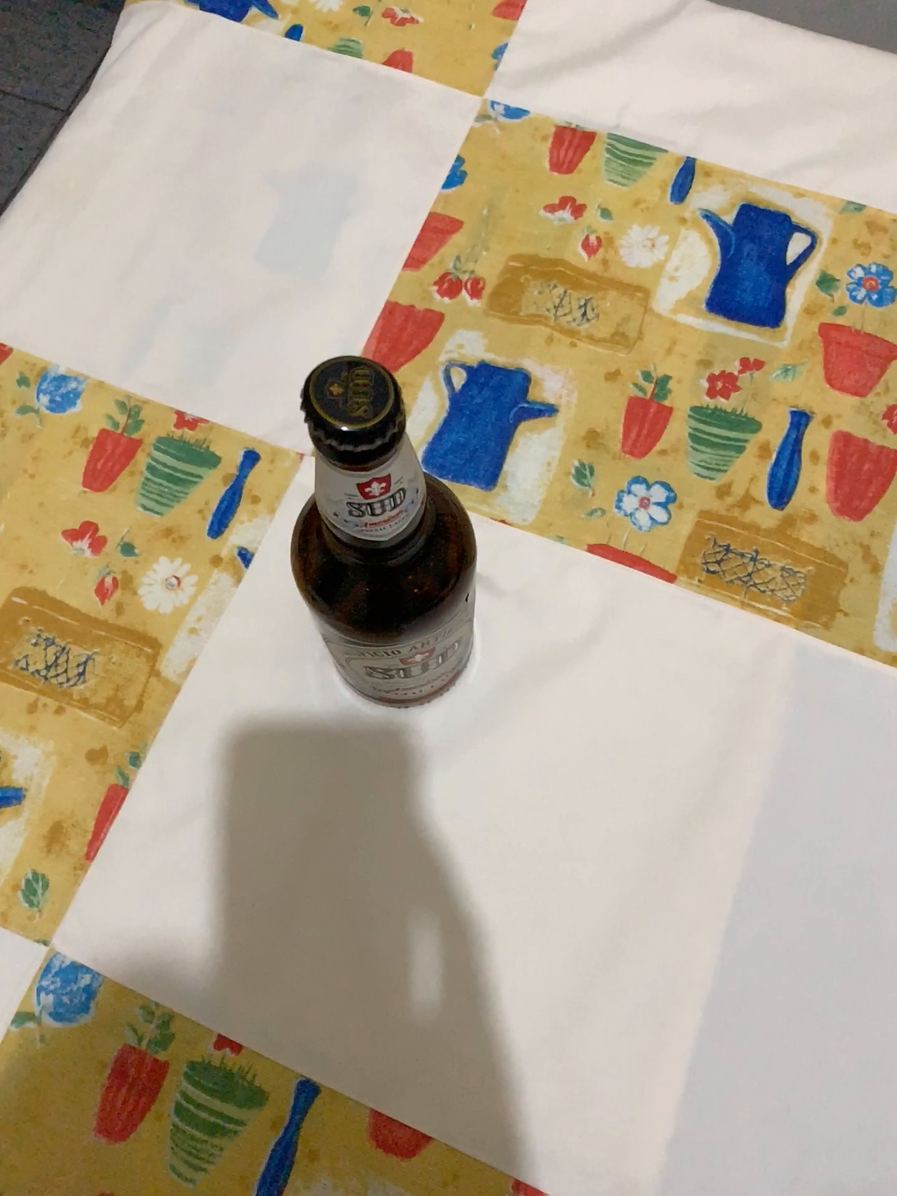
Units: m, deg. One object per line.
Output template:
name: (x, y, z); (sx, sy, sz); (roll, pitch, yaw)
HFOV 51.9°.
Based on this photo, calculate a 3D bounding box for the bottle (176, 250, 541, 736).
bottle: (-0.025, -0.016, 0.363); (0.080, 0.240, 0.070); (-21, 72, -7)
